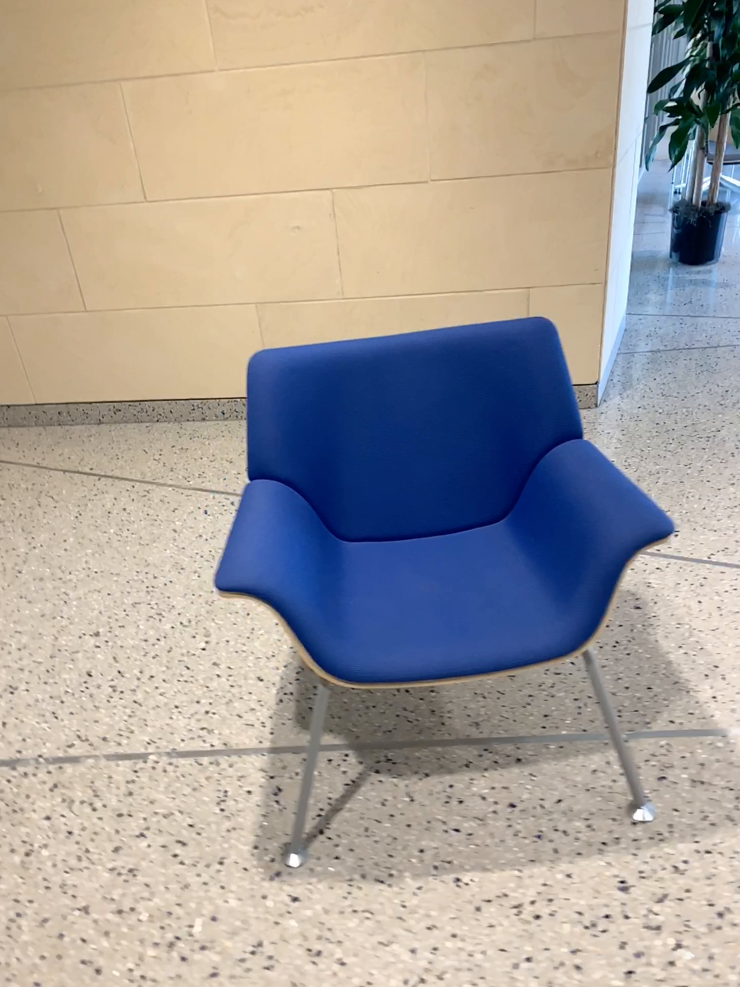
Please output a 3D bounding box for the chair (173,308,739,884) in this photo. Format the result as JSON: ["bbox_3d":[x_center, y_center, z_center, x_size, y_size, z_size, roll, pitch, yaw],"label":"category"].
[{"bbox_3d":[0.139,0.145,1.486,0.778,0.728,0.763,-6,30,-1],"label":"chair"}]
